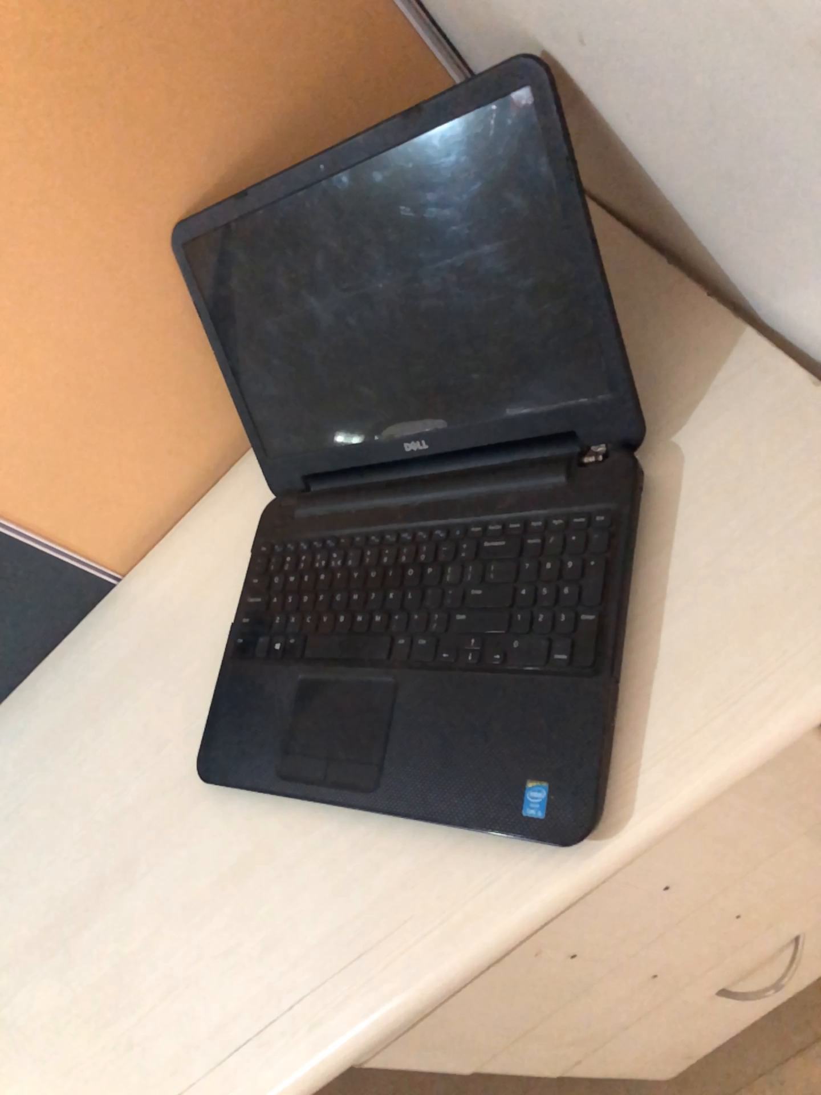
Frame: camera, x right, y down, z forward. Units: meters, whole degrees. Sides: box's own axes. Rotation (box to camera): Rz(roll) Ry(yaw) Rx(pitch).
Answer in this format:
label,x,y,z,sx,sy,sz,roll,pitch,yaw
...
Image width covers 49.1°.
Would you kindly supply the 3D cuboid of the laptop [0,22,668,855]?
label,x,y,z,sx,sy,sz,roll,pitch,yaw
laptop,-0.052,-0.055,0.607,0.353,0.175,0.414,-4,65,41
